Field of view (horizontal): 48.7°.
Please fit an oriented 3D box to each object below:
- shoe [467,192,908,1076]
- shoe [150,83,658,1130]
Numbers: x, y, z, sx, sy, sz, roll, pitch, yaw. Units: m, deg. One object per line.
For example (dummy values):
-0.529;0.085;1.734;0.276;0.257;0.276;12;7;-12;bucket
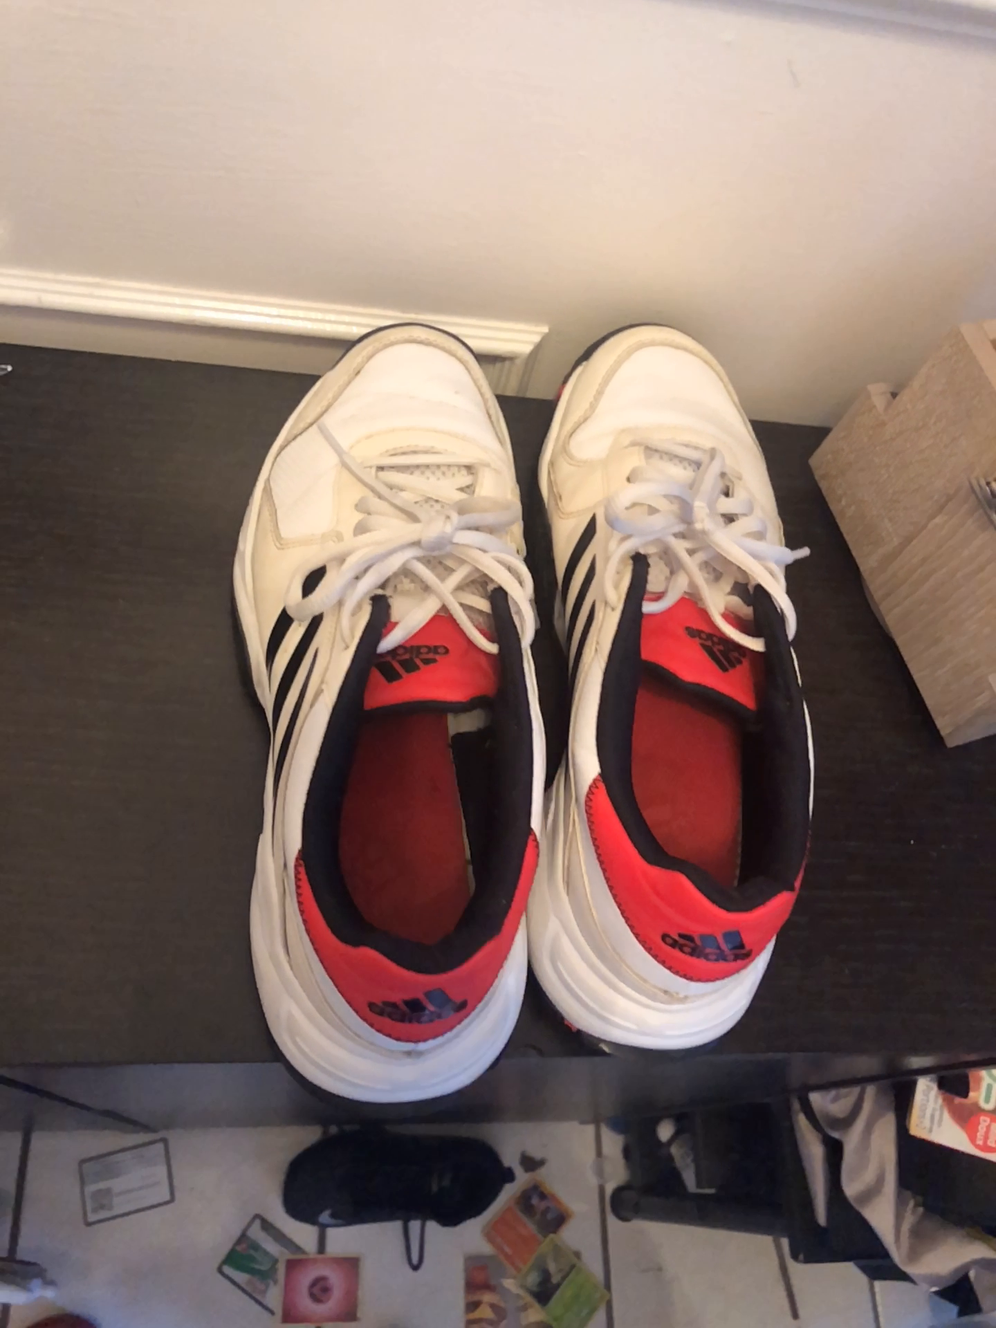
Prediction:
0.054;-0.017;0.412;0.110;0.100;0.311;5;64;-9;shoe
-0.035;-0.024;0.352;0.110;0.110;0.311;2;65;-11;shoe
